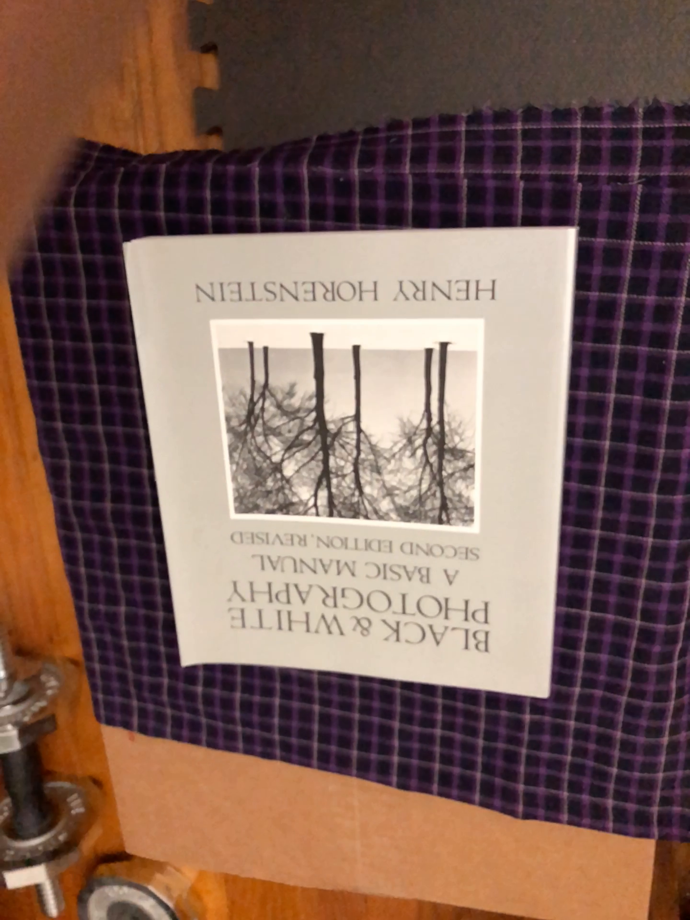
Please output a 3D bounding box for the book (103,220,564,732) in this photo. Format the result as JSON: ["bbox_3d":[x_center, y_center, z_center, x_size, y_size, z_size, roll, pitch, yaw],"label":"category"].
[{"bbox_3d":[-0.004,0.012,0.393,0.210,0.030,0.250,3,110,14],"label":"book"}]
